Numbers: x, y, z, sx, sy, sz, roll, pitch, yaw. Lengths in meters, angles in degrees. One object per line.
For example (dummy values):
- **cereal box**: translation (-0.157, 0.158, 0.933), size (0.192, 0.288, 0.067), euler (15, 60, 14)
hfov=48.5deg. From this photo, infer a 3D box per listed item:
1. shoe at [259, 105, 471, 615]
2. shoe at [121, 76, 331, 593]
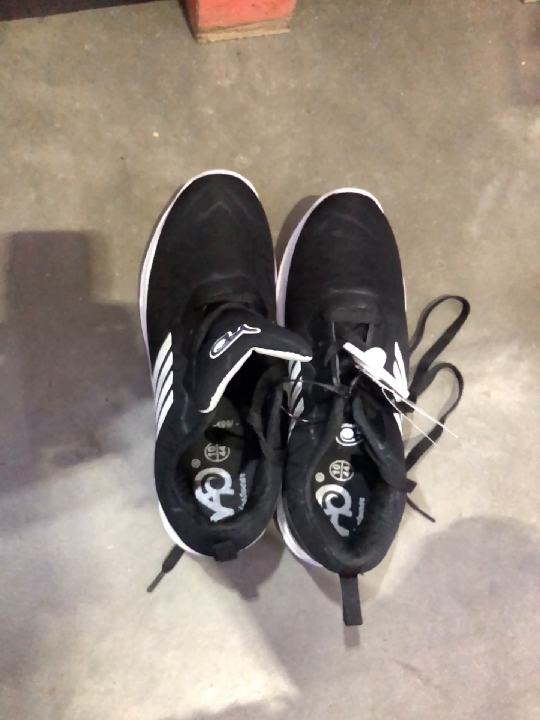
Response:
- **shoe**: translation (0.061, 0.001, 0.439), size (0.110, 0.130, 0.320), euler (4, 78, -6)
- **shoe**: translation (-0.040, -0.019, 0.442), size (0.120, 0.130, 0.330), euler (-2, 78, -7)
